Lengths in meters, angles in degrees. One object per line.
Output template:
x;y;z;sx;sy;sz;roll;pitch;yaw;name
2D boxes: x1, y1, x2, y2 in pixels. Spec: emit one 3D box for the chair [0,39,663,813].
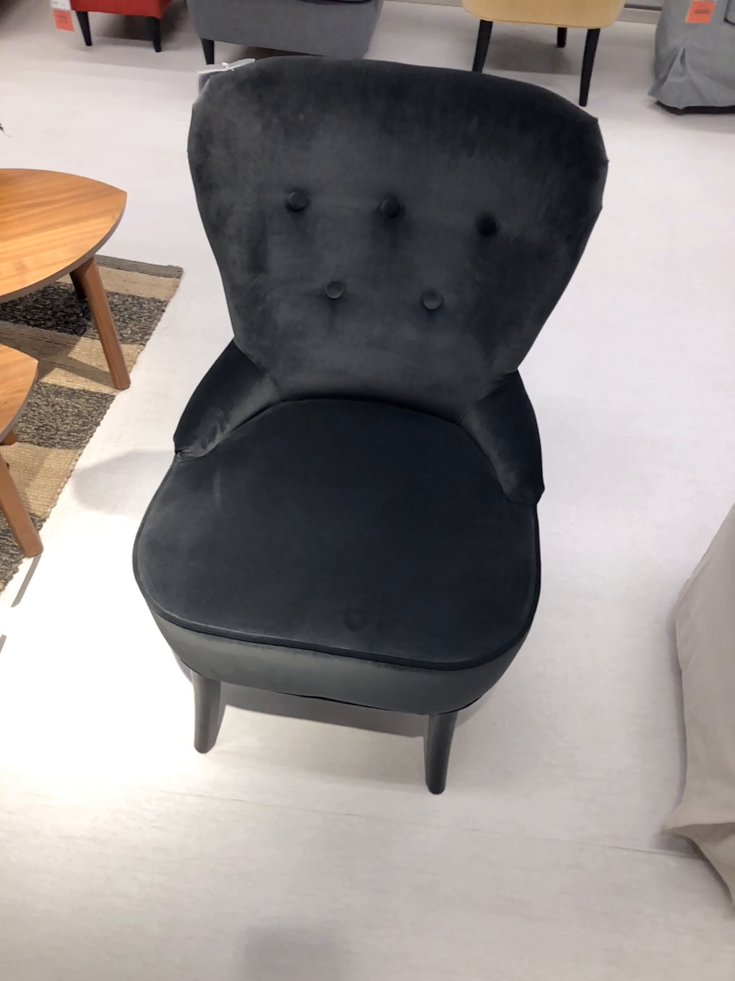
-0.016;-0.082;1.227;0.600;0.776;0.794;7;51;3;chair
